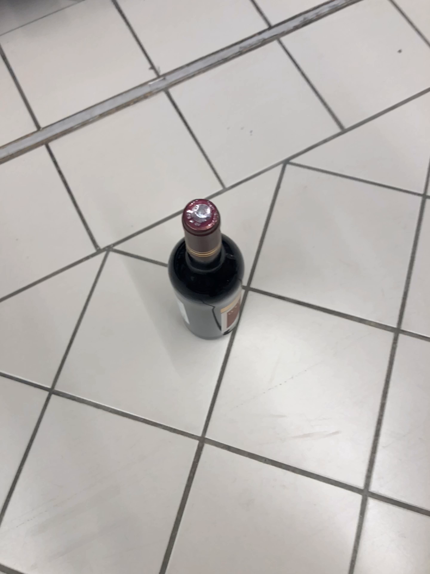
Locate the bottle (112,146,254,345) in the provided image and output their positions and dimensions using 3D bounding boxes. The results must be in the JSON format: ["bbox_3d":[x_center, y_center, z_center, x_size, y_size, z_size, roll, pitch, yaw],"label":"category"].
[{"bbox_3d":[-0.020,-0.018,0.479,0.100,0.269,0.100,-1,73,2],"label":"bottle"}]
